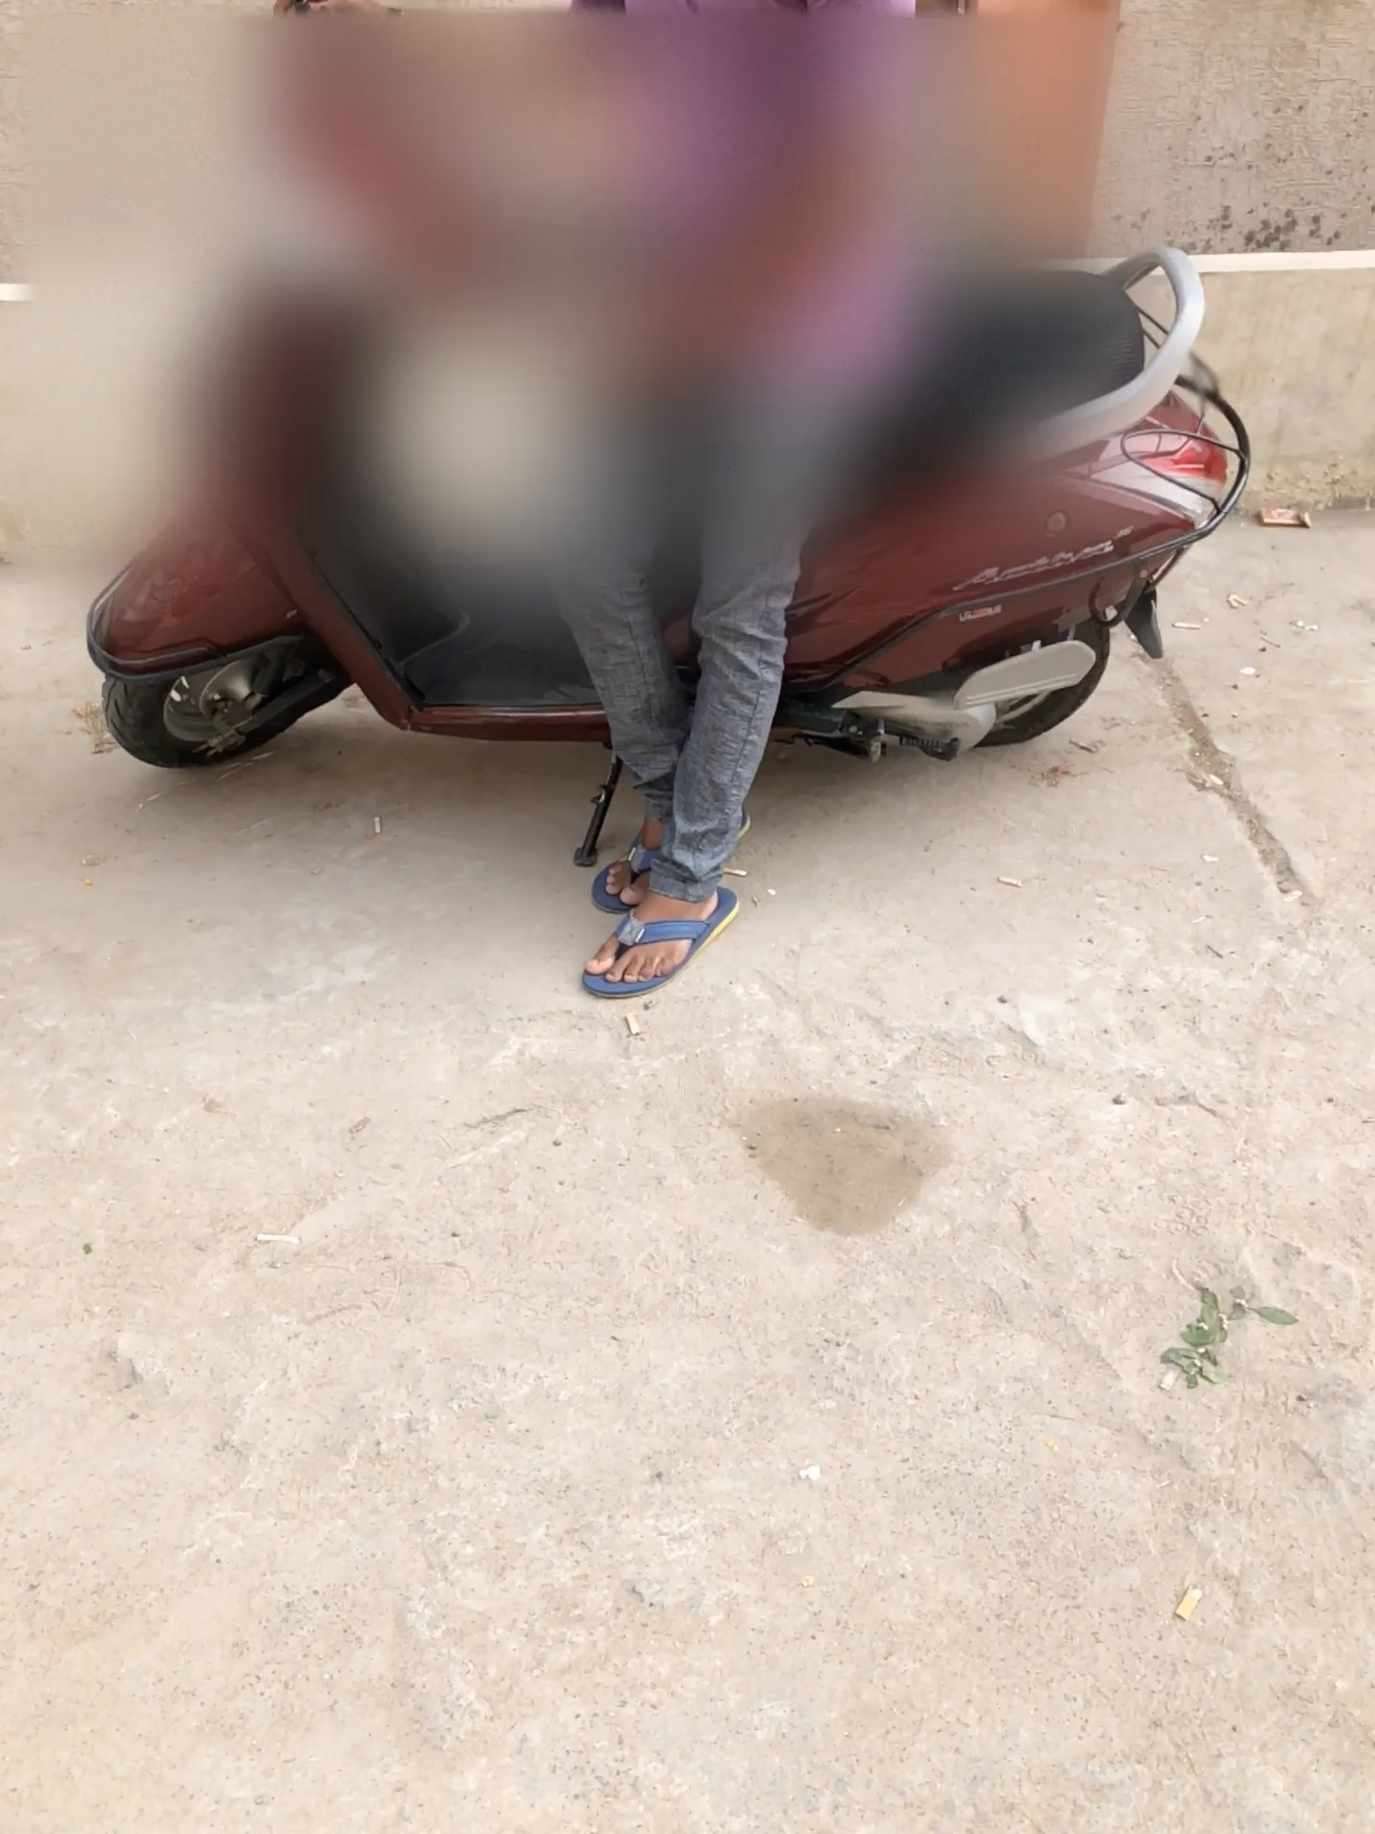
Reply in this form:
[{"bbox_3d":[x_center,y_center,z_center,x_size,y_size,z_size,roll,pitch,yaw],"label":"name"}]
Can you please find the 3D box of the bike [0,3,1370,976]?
[{"bbox_3d":[-0.113,-0.595,2.106,1.577,1.073,0.633,-4,35,-4],"label":"bike"}]
